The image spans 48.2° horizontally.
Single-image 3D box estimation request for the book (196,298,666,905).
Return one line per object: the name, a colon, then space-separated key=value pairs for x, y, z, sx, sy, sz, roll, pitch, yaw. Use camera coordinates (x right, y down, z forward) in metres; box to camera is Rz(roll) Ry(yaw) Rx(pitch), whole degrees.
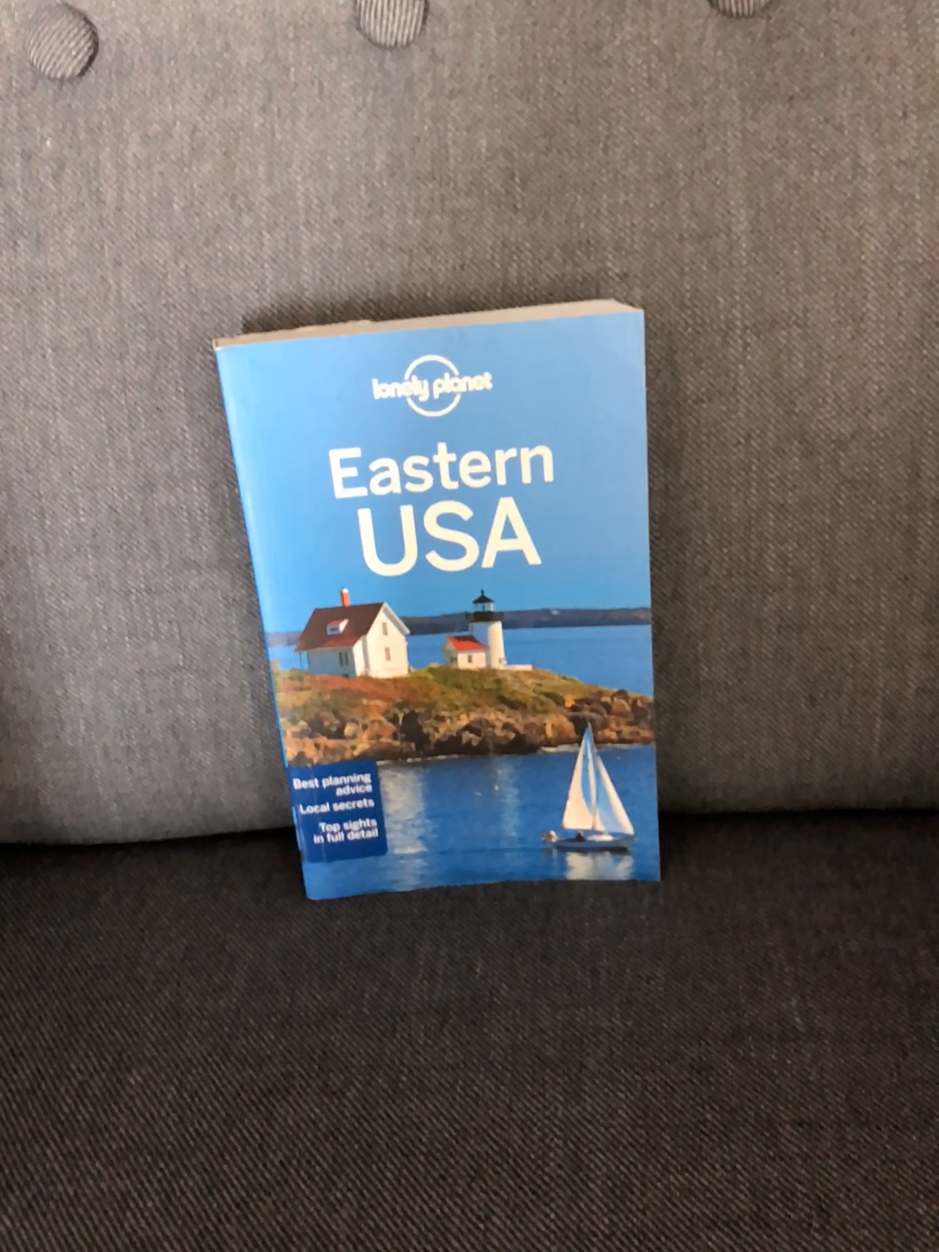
book: x=-0.005 y=-0.001 z=0.360 sx=0.134 sy=0.200 sz=0.039 roll=-3 pitch=21 yaw=6
